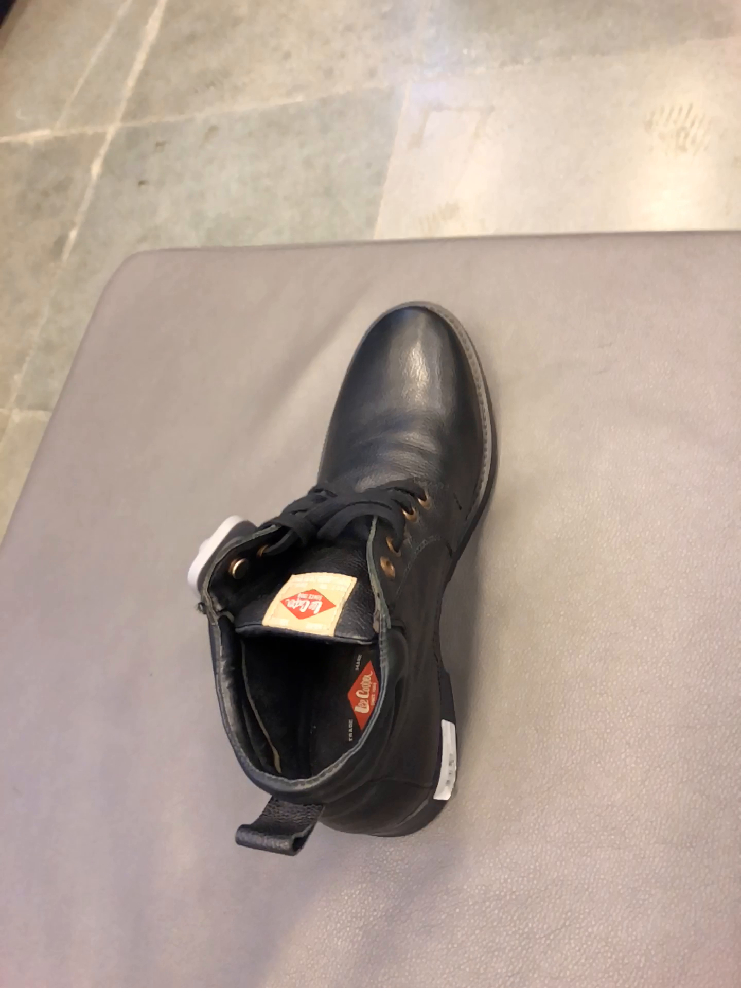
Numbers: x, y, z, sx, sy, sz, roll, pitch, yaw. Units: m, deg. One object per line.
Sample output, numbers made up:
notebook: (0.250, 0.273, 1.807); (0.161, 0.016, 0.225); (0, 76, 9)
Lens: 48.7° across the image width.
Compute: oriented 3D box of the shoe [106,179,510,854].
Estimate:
shoe: (-0.007, 0.017, 0.405); (0.111, 0.149, 0.284); (-2, 67, 20)
